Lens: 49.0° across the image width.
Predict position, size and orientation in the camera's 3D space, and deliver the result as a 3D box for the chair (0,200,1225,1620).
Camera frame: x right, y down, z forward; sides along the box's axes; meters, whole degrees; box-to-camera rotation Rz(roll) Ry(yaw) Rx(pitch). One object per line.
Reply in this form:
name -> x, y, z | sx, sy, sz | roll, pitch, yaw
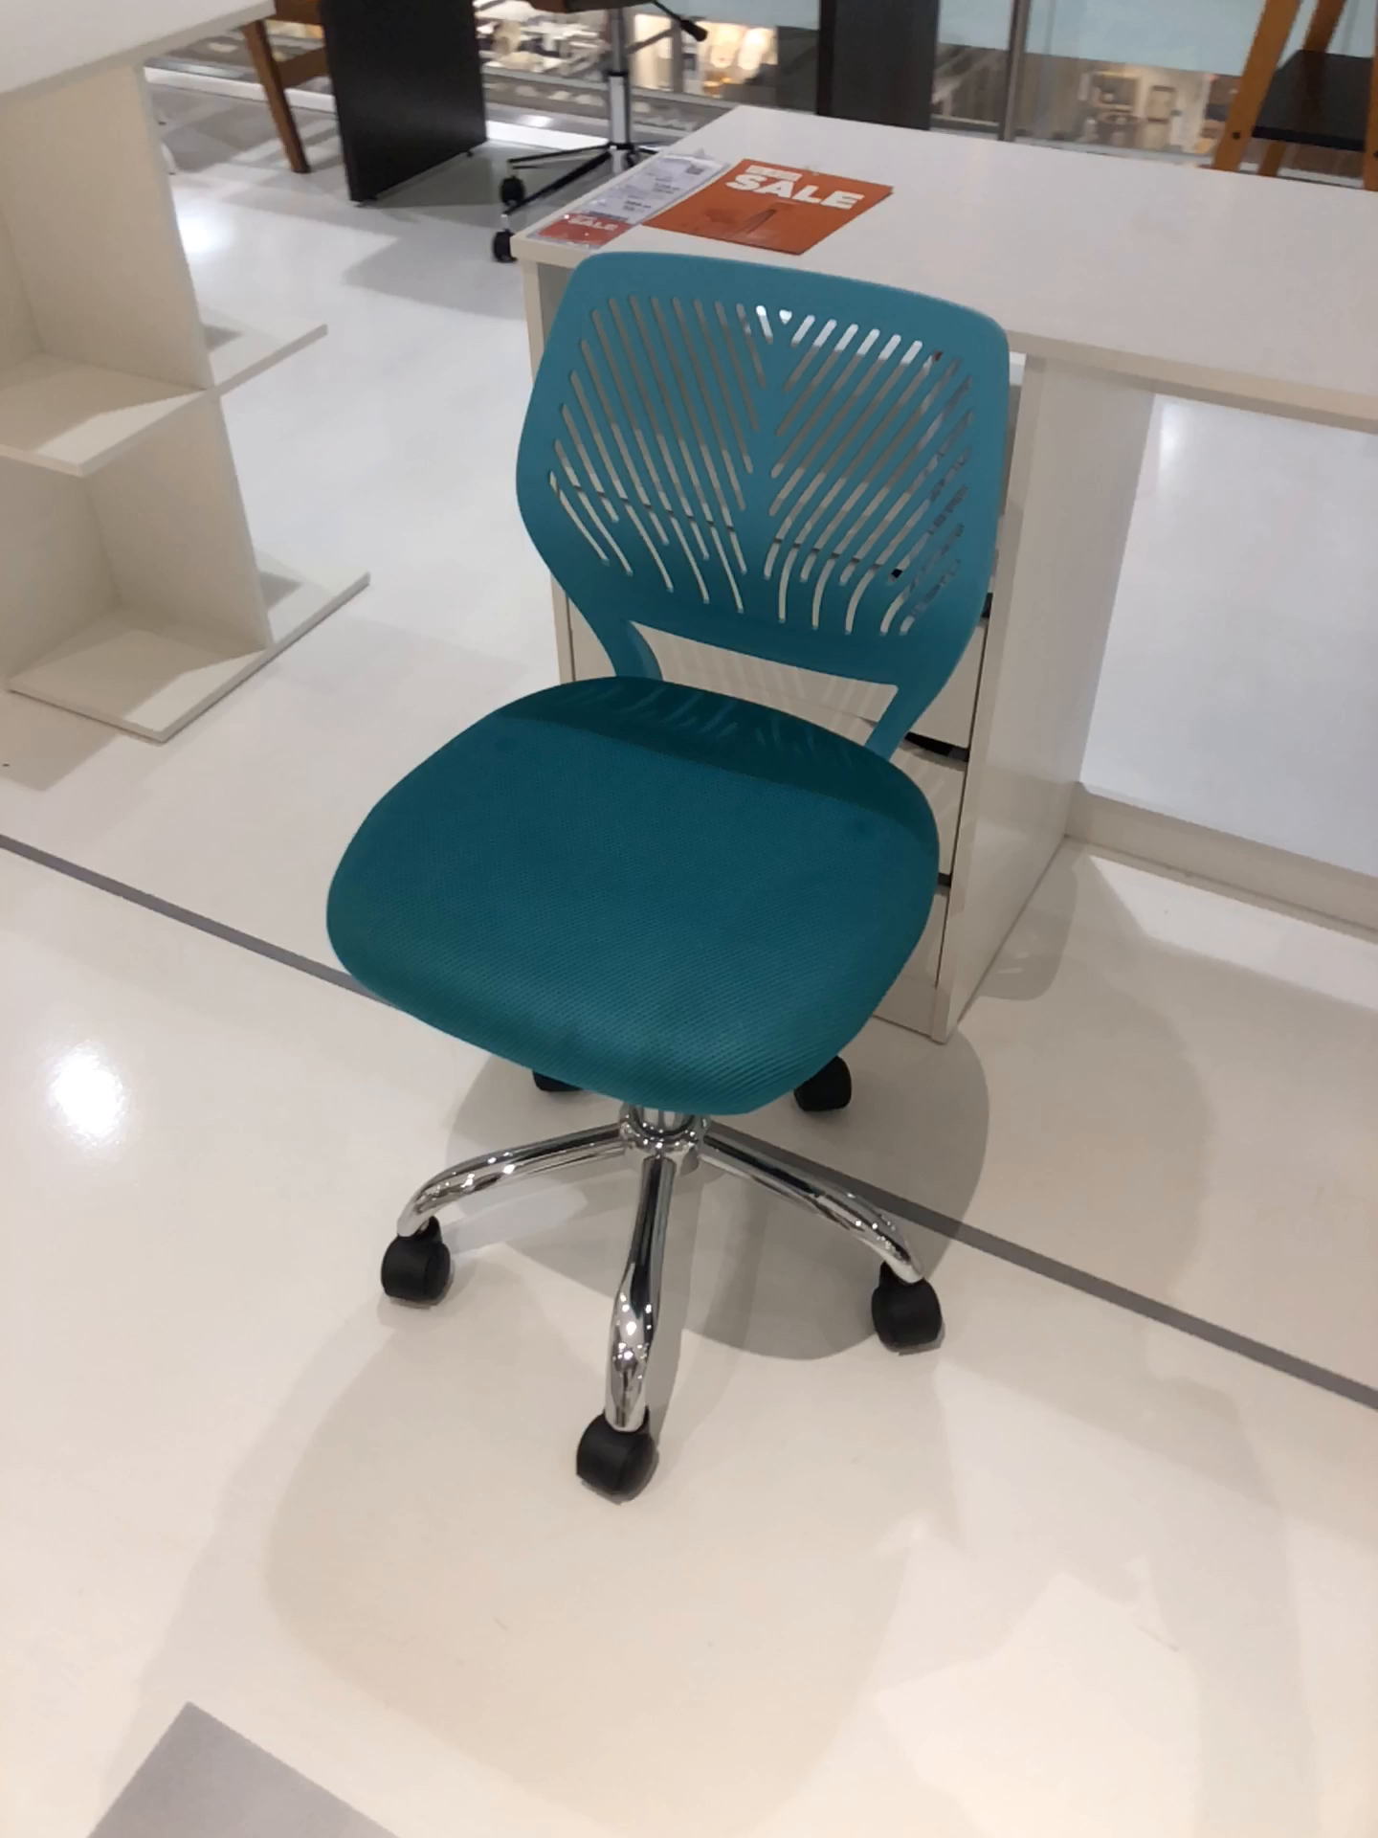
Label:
chair -> -0.012, -0.014, 1.053 | 0.501, 0.724, 0.503 | 18, 45, 20
